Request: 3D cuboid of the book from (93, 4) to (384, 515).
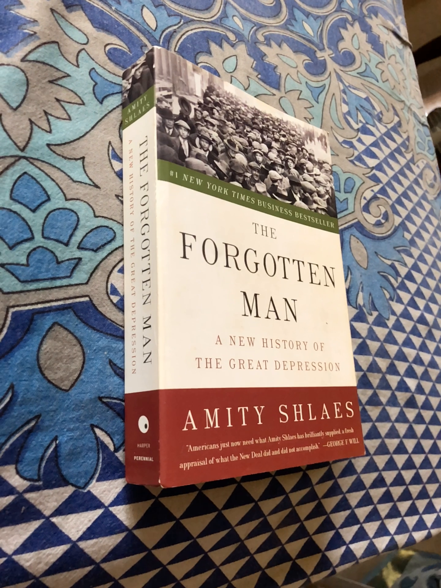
[{"bbox_3d":[0.012,-0.013,0.251,0.141,0.050,0.200,6,76,-41],"label":"book"}]
